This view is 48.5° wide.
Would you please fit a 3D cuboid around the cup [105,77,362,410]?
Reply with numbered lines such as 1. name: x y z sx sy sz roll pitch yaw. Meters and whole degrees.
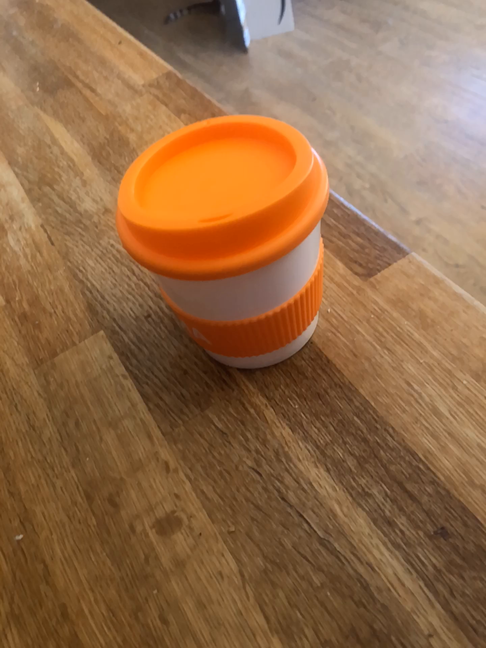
1. cup: -0.002 -0.032 0.232 0.081 0.089 0.089 -13 51 4
